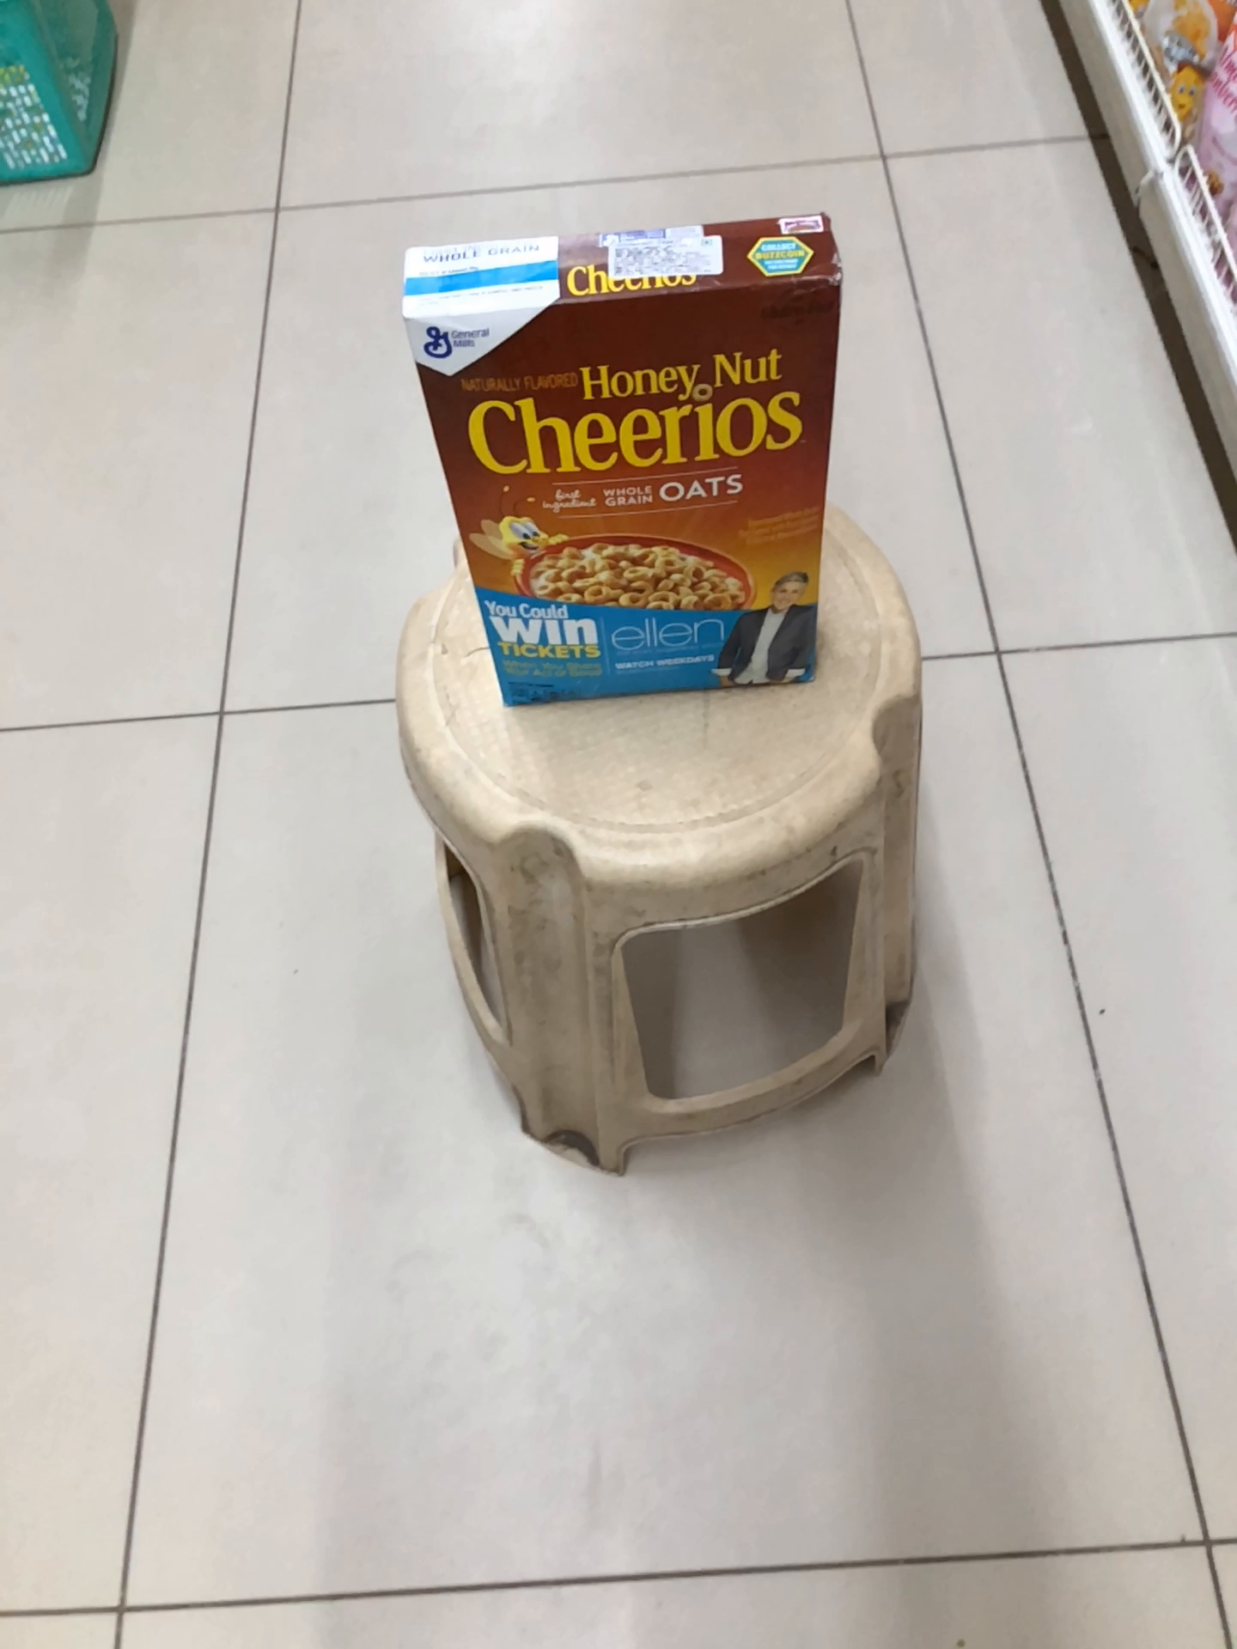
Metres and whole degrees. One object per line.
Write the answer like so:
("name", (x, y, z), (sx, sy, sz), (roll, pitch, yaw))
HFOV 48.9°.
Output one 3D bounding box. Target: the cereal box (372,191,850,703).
("cereal box", (0.002, -0.166, 0.674), (0.190, 0.279, 0.050), (-5, 61, 0))
